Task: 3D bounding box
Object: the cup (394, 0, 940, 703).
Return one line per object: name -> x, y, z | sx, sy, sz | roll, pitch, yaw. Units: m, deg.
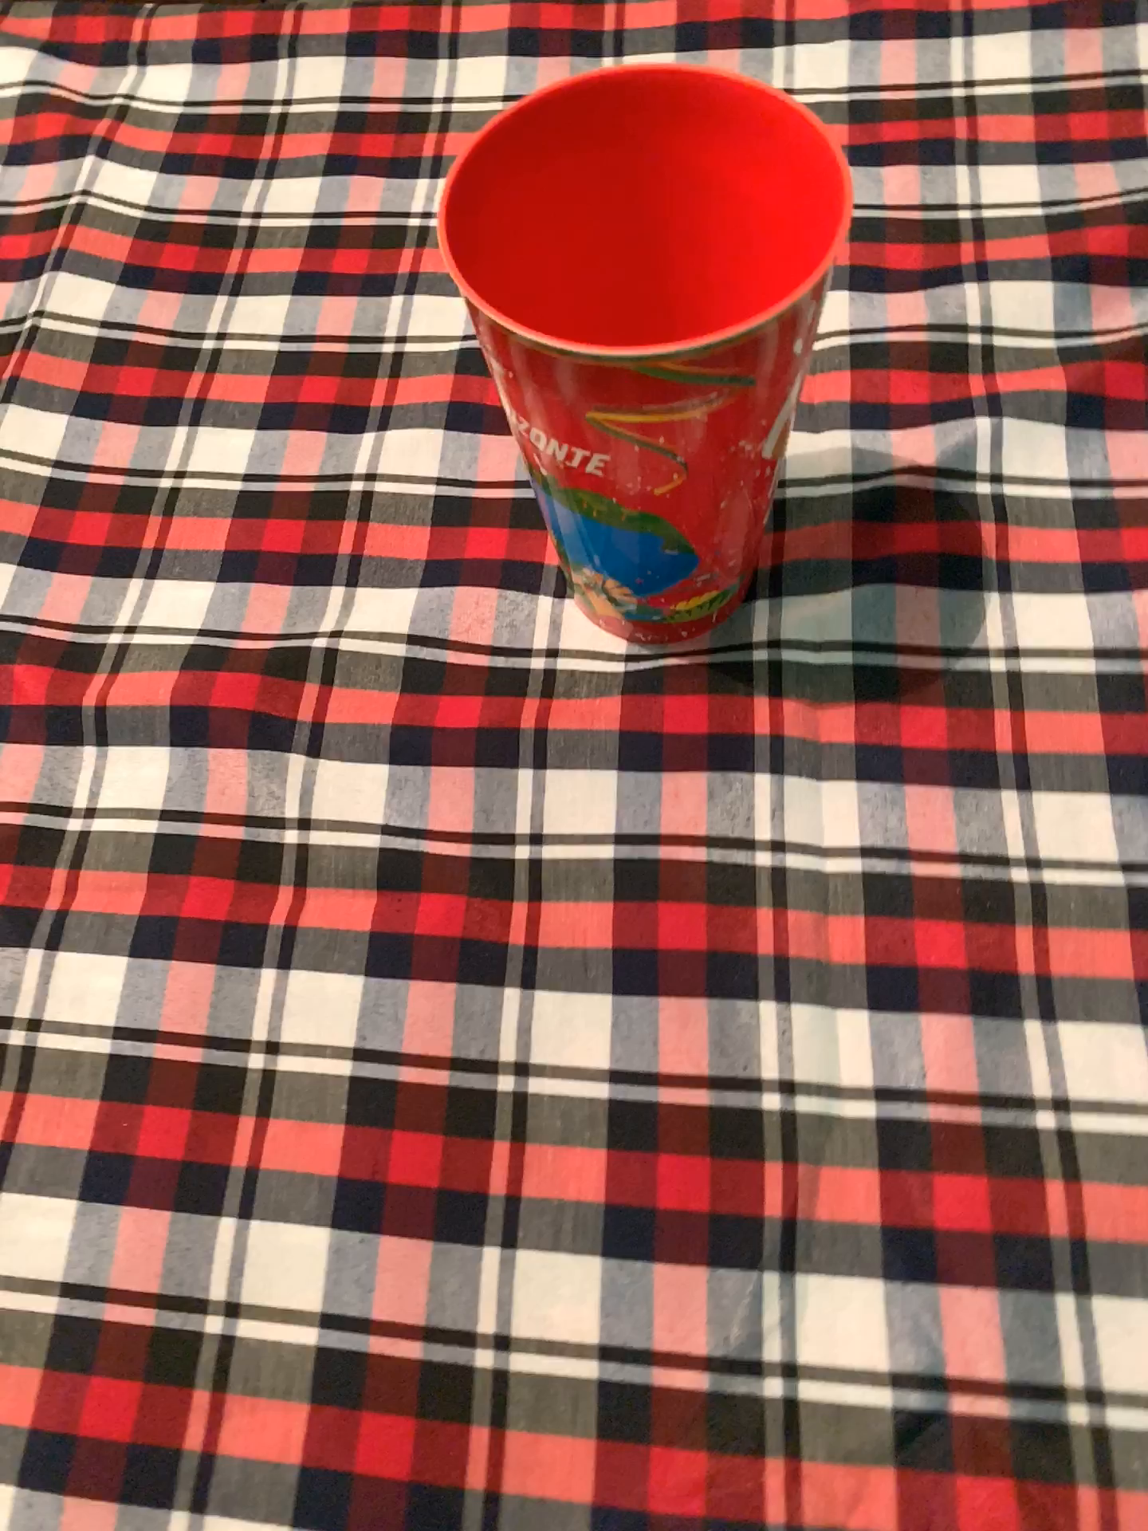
cup -> 0.021, -0.100, 0.314 | 0.100, 0.130, 0.100 | -2, 64, 5
